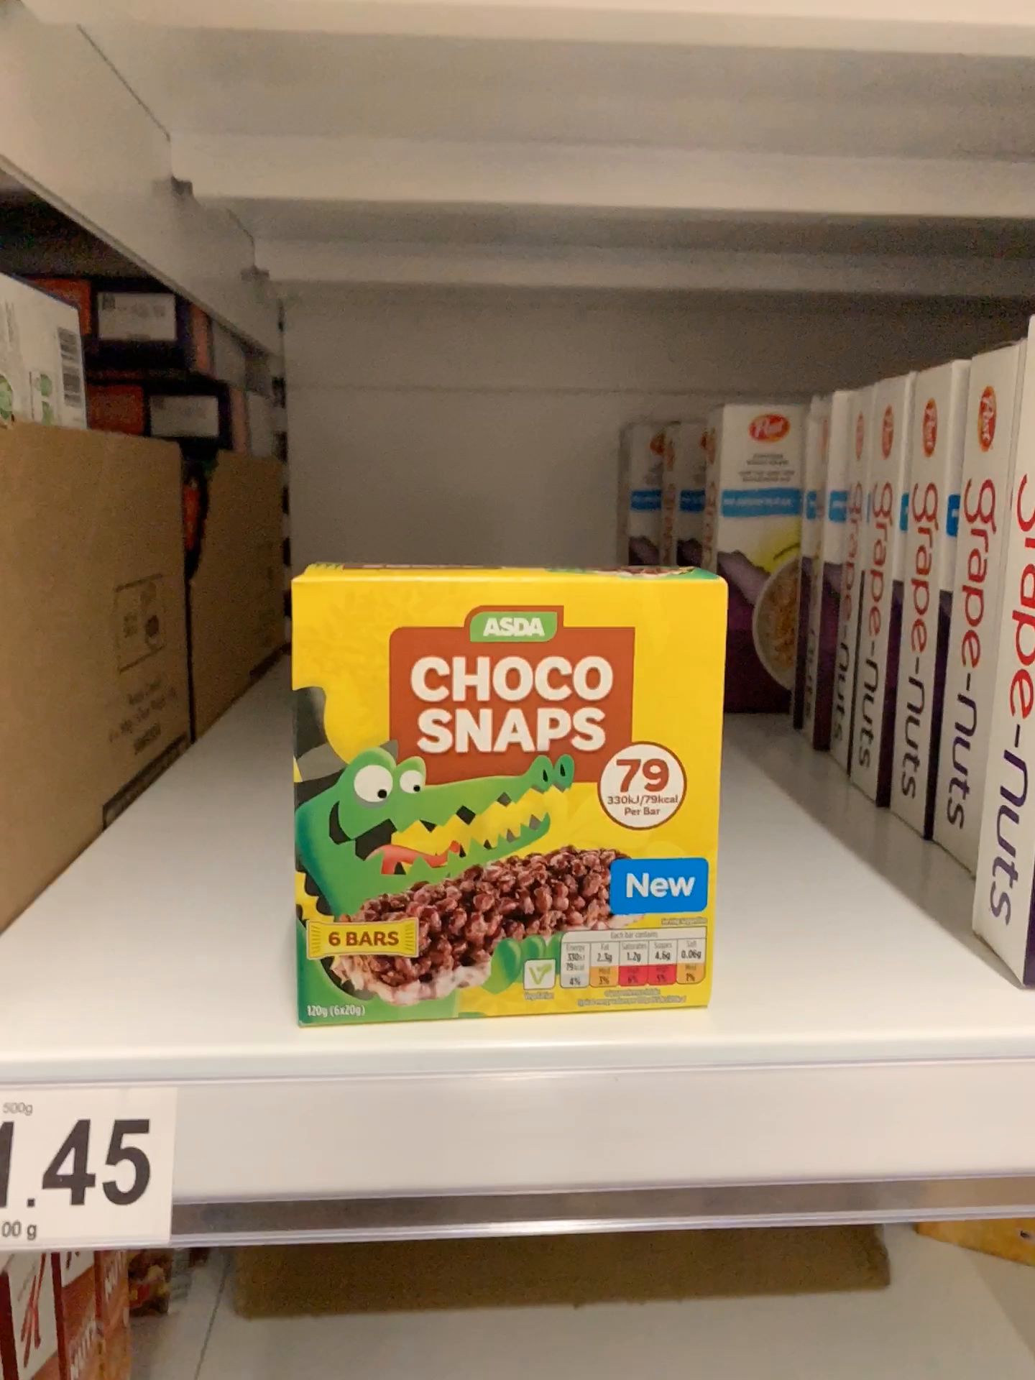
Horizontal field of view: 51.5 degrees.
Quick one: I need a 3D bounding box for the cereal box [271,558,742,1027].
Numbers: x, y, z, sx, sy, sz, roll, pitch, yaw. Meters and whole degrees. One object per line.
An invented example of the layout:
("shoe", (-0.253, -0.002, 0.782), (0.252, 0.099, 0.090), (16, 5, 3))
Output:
("cereal box", (-0.006, 0.026, 0.340), (0.130, 0.130, 0.070), (0, 10, -7))
